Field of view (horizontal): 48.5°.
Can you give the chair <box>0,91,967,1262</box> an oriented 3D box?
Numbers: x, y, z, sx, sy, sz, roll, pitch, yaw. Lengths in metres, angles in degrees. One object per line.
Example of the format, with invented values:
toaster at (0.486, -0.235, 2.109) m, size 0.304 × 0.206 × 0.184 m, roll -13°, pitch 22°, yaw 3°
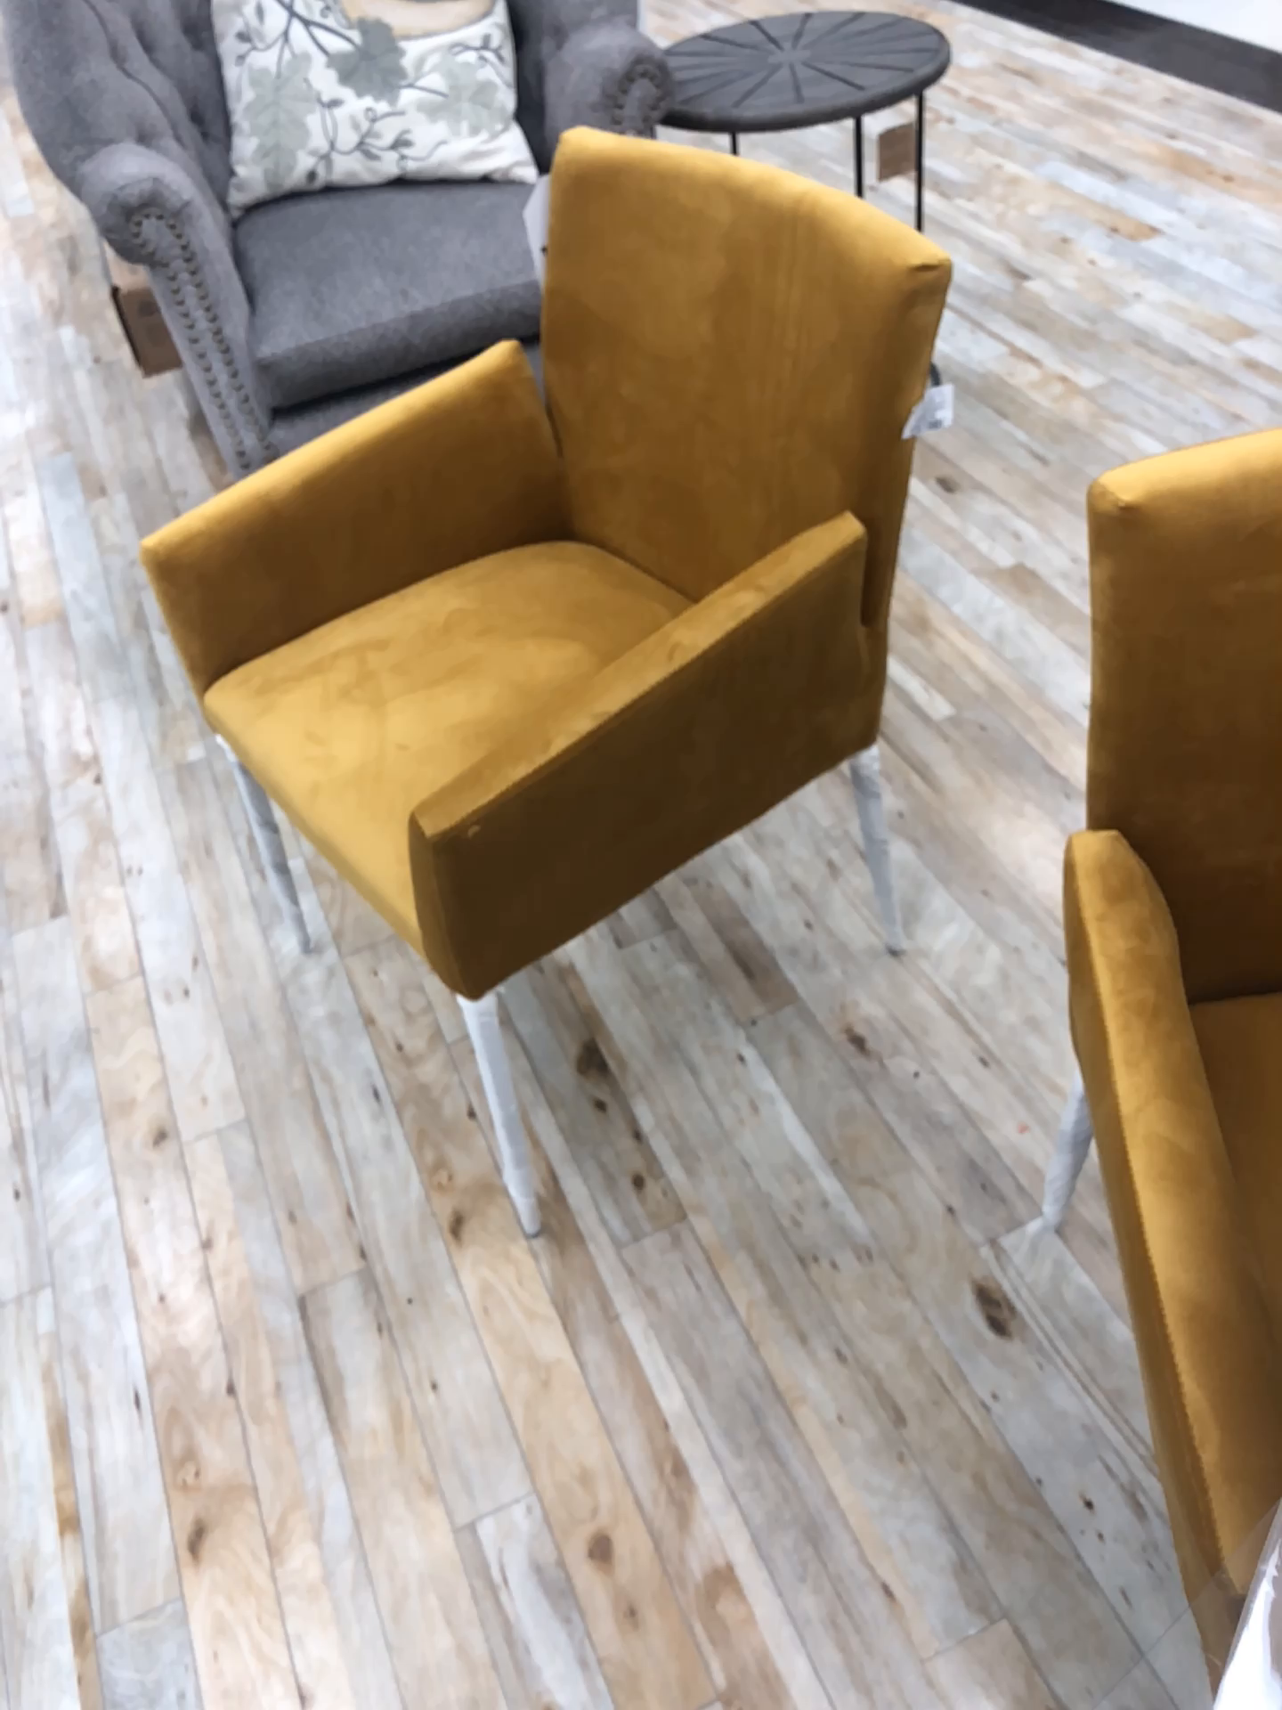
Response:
chair at (-0.100, -0.172, 1.354) m, size 0.540 × 0.797 × 0.562 m, roll -31°, pitch 47°, yaw -21°
